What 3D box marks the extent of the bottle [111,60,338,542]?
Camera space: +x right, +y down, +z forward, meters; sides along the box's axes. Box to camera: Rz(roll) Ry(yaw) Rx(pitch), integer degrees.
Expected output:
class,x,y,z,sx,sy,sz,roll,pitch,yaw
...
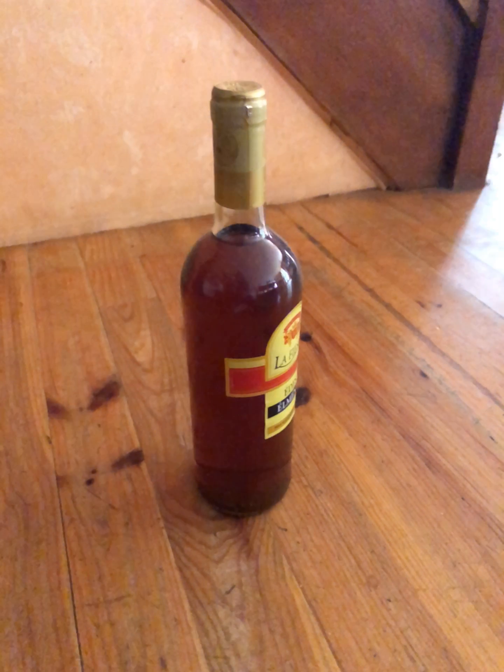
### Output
class,x,y,z,sx,sy,sz,roll,pitch,yaw
bottle,-0.009,-0.006,0.351,0.080,0.288,0.081,-1,35,0
